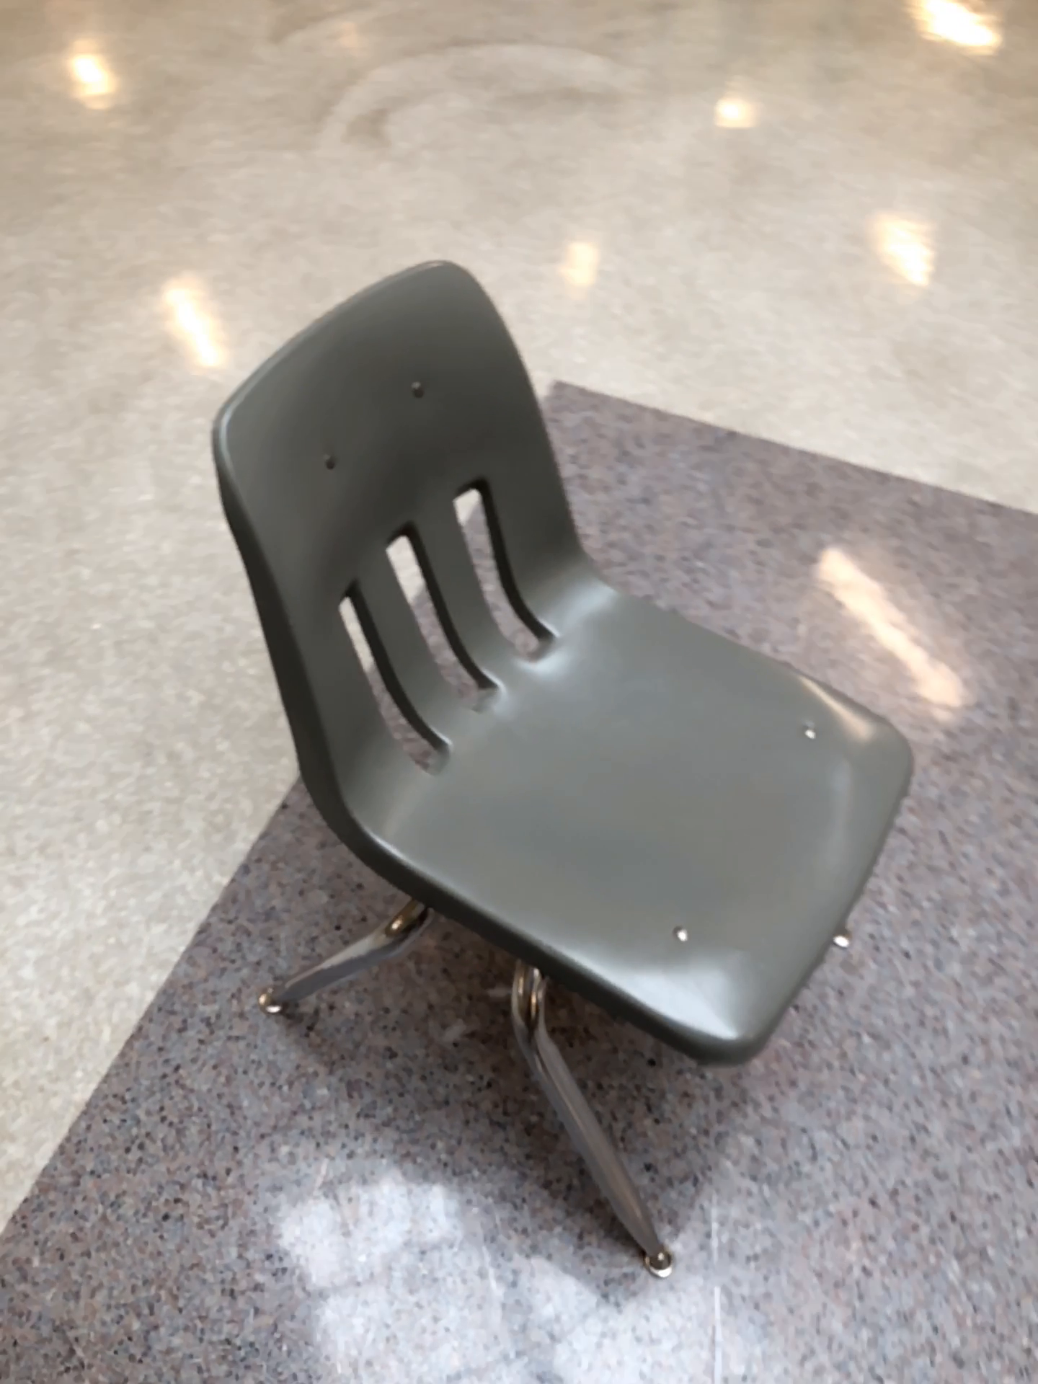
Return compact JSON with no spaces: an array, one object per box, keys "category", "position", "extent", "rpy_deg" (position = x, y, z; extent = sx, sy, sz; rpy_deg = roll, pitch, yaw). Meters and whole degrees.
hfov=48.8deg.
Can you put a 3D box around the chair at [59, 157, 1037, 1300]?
[{"category":"chair","position":[0.086,0.047,0.990],"extent":[0.551,0.666,0.512],"rpy_deg":[28,56,19]}]
